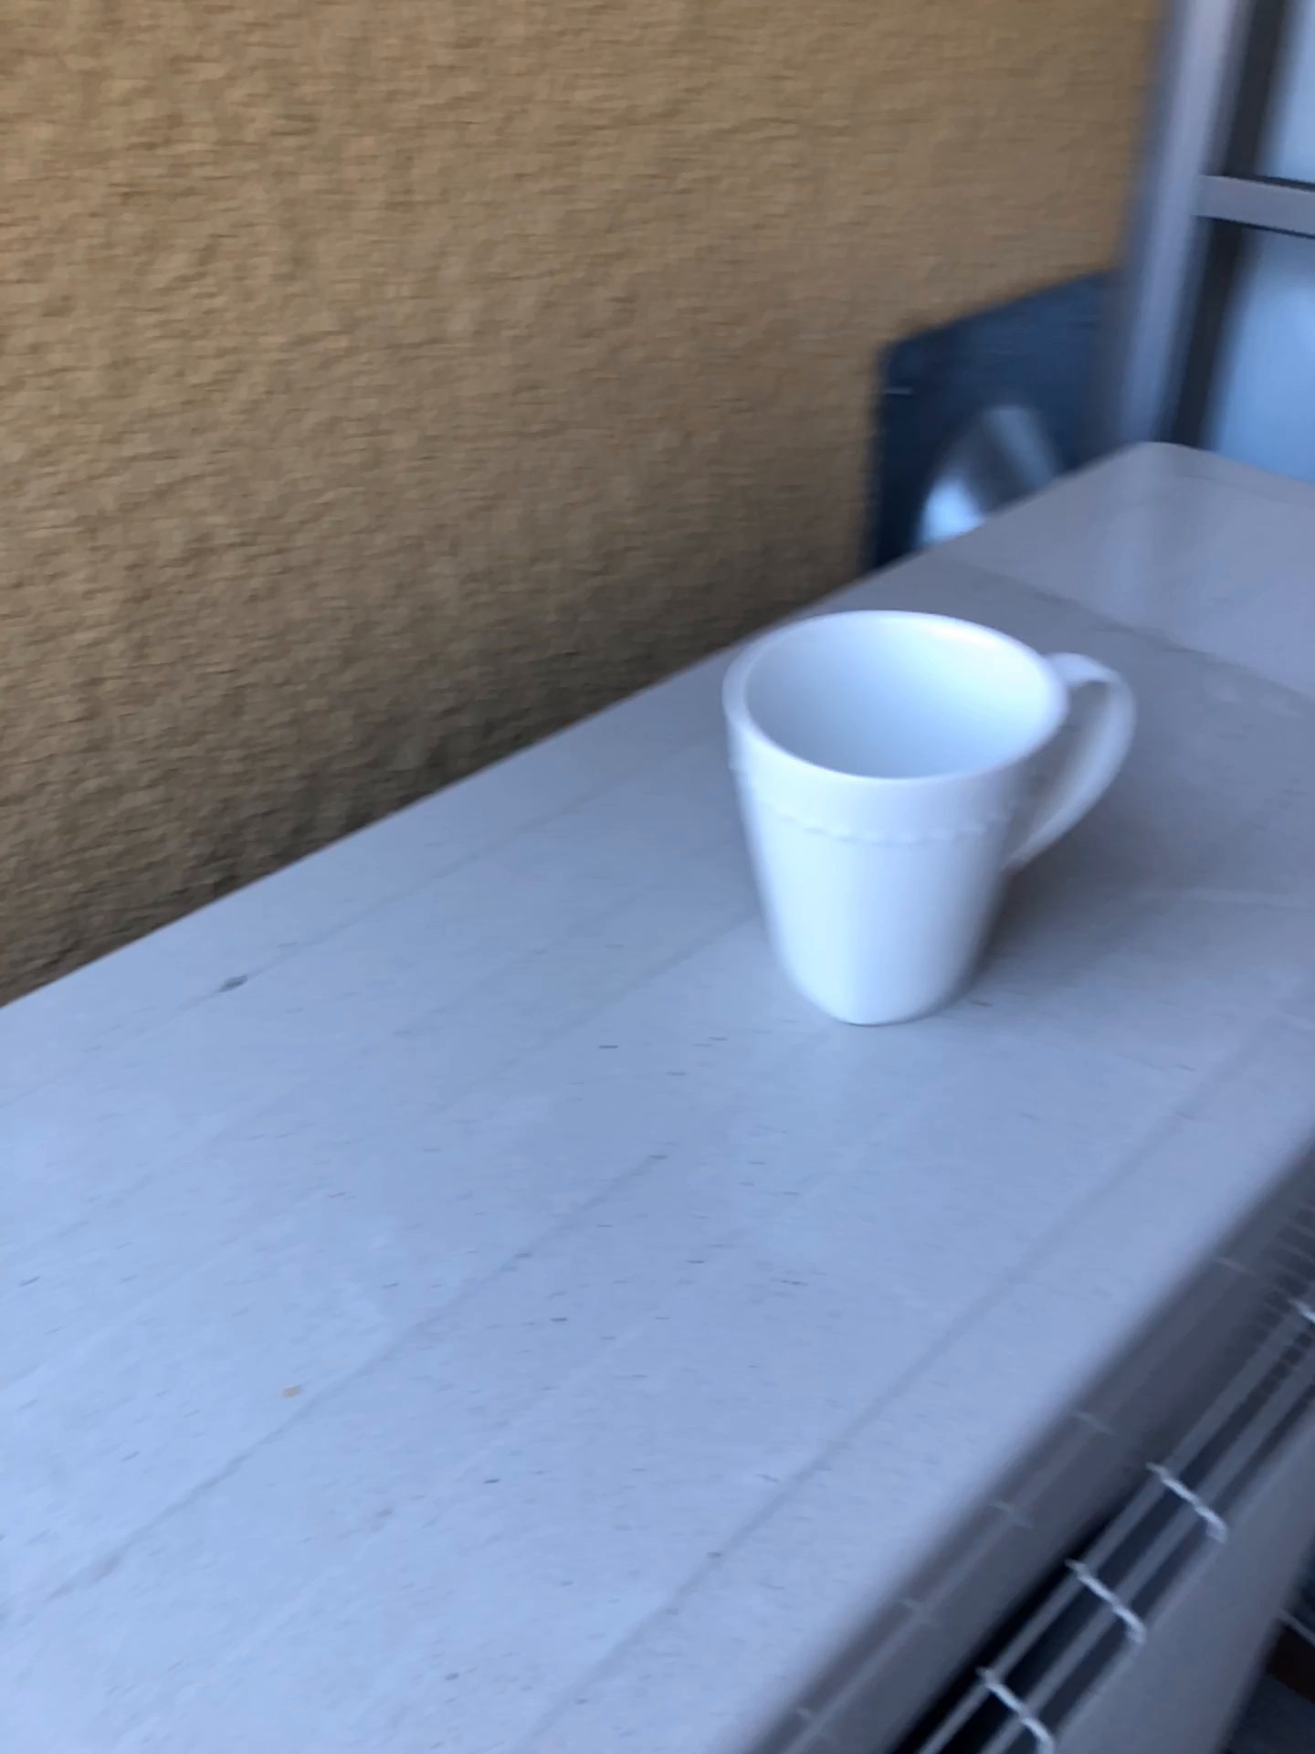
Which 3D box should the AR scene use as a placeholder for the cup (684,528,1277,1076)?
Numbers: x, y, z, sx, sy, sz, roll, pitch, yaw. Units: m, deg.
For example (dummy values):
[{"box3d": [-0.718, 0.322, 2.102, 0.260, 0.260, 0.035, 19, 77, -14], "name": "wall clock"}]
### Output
[{"box3d": [0.094, -0.030, 0.457, 0.140, 0.099, 0.100, -21, 40, -25], "name": "cup"}]
